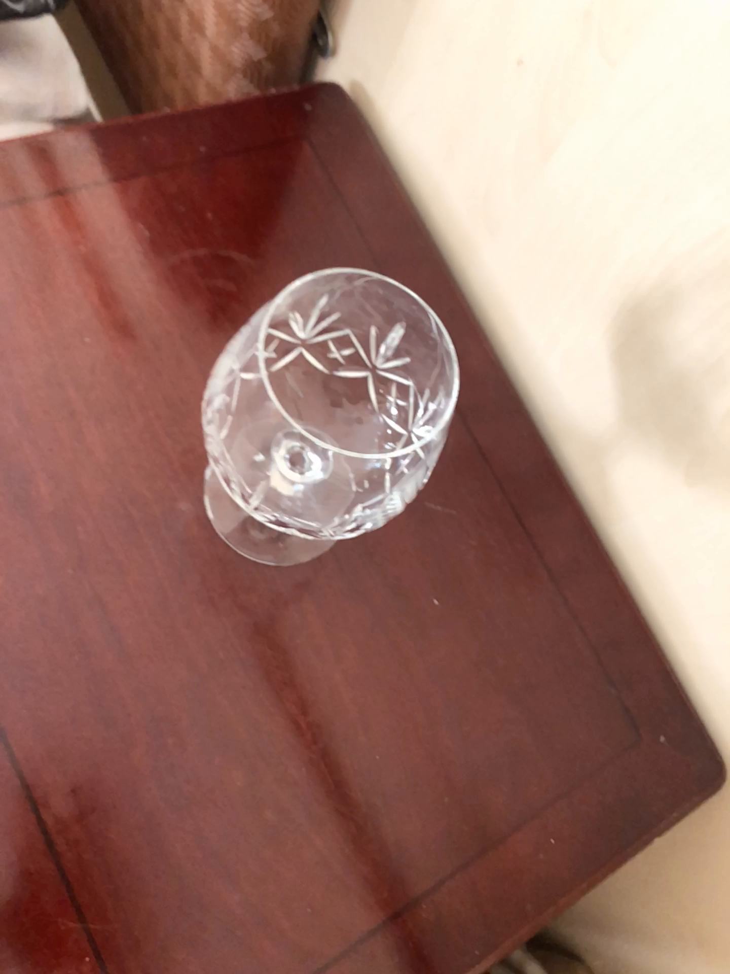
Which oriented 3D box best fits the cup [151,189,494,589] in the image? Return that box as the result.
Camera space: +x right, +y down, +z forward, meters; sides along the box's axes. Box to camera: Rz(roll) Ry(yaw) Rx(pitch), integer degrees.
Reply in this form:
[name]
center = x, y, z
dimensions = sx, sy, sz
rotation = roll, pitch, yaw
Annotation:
[cup]
center = -0.022, -0.026, 0.314
dimensions = 0.089, 0.126, 0.088
rotation = 7, 69, -18
